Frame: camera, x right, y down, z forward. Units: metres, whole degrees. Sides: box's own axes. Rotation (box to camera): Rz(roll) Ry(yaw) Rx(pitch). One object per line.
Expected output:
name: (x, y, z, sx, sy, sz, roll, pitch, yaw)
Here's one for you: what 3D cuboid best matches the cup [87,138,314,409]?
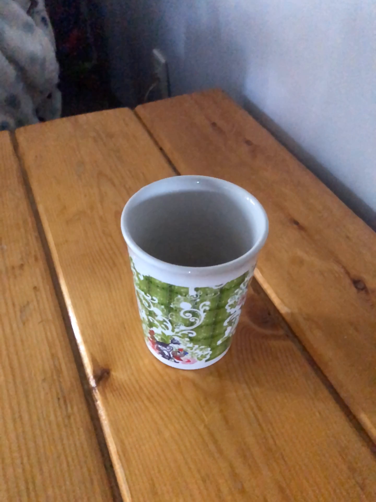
cup: (0.001, 0.013, 0.306, 0.090, 0.120, 0.130, -21, 50, -20)
